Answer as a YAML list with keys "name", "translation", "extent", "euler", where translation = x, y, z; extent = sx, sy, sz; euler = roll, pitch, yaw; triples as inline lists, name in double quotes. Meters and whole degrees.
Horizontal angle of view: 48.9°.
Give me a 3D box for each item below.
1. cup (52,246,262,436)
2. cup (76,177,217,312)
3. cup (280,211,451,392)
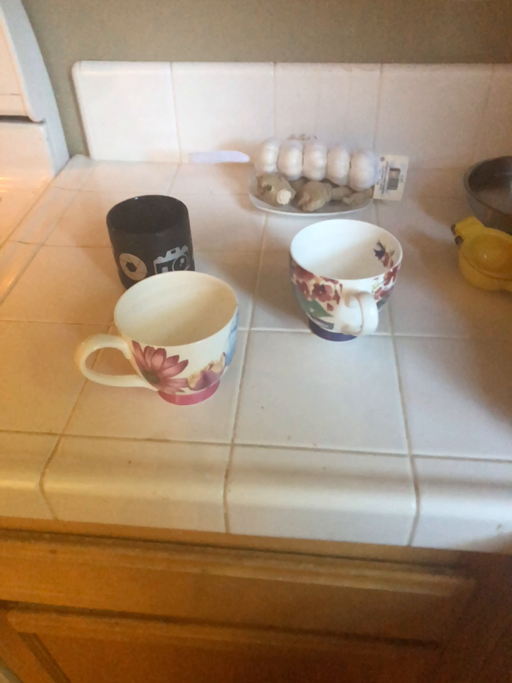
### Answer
- name: "cup"
  translation: [-0.086, -0.006, 0.498]
  extent: [0.150, 0.079, 0.111]
  euler: [-16, 44, -16]
- name: "cup"
  translation: [-0.128, -0.118, 0.656]
  extent: [0.110, 0.069, 0.141]
  euler: [-21, 46, -20]
- name: "cup"
  translation: [0.096, -0.045, 0.555]
  extent: [0.110, 0.089, 0.151]
  euler: [-10, 43, -9]
